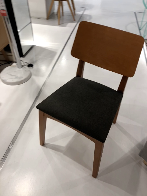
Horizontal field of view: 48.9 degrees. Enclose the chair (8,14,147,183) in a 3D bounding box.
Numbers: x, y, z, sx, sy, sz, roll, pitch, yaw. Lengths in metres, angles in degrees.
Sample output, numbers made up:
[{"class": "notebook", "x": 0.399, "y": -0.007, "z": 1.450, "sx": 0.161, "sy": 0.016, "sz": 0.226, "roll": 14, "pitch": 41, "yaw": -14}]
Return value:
[{"class": "chair", "x": 0.084, "y": -0.001, "z": 1.074, "sx": 0.531, "sy": 0.804, "sz": 0.583, "roll": 24, "pitch": 48, "yaw": 23}]
